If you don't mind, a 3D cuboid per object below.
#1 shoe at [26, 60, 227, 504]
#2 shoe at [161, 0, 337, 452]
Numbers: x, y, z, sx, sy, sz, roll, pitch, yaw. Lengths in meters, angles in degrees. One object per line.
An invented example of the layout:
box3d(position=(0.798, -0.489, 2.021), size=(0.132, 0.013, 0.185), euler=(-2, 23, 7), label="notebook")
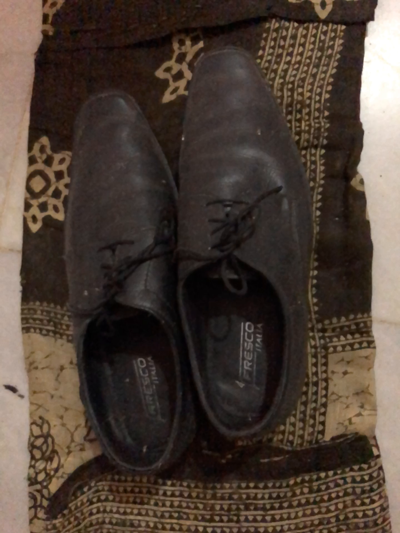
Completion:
box3d(position=(-0.062, 0.011, 0.389), size=(0.110, 0.070, 0.340), euler=(-10, 85, 9), label="shoe")
box3d(position=(0.038, -0.032, 0.372), size=(0.110, 0.070, 0.340), euler=(-4, 86, 9), label="shoe")
